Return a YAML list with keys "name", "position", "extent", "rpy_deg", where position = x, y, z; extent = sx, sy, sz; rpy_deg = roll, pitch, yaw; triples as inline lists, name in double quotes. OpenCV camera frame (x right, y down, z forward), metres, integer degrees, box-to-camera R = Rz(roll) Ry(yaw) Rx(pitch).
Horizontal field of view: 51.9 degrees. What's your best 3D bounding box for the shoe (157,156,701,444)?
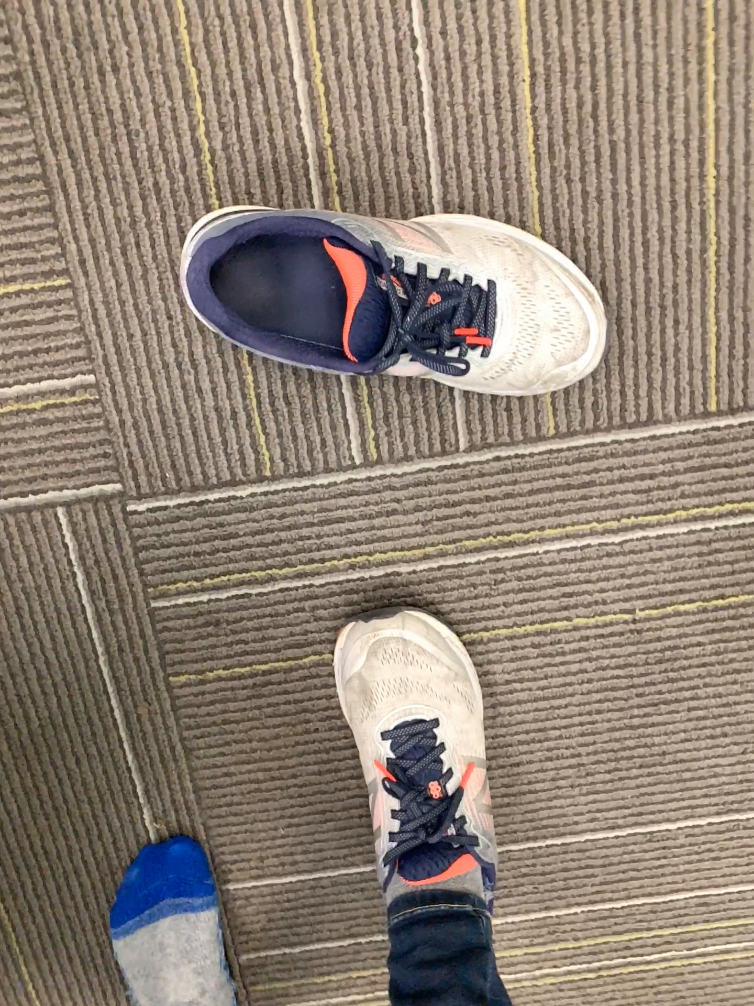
- name: "shoe"
  position: [0.021, -0.115, 0.444]
  extent: [0.260, 0.120, 0.110]
  rpy_deg: [6, 107, -3]
